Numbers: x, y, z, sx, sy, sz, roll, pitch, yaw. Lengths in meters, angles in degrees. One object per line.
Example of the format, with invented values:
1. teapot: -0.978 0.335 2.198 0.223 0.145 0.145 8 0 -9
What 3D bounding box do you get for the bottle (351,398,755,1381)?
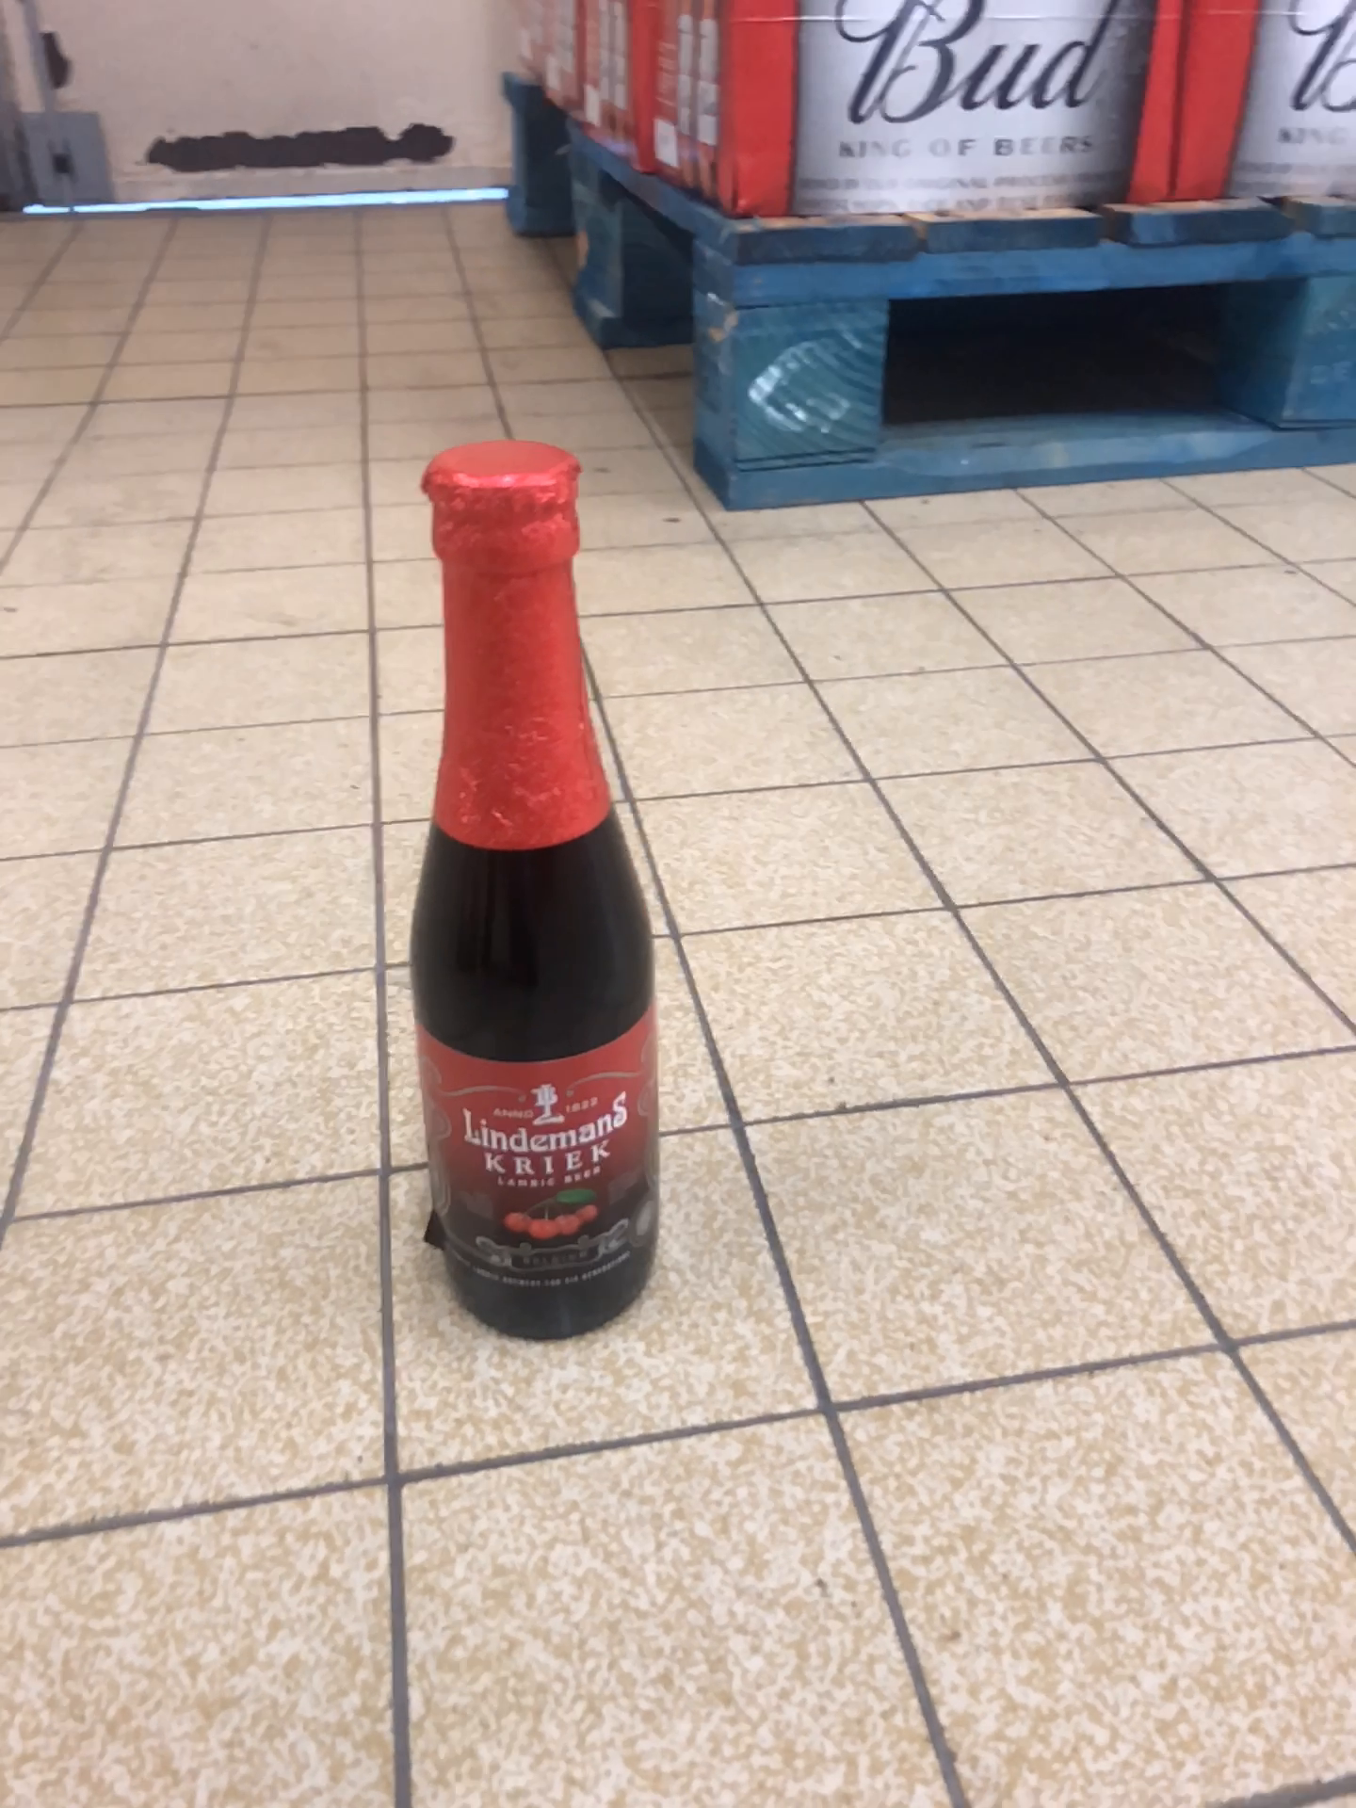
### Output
1. bottle: -0.024 0.003 0.318 0.060 0.199 0.060 0 32 0
